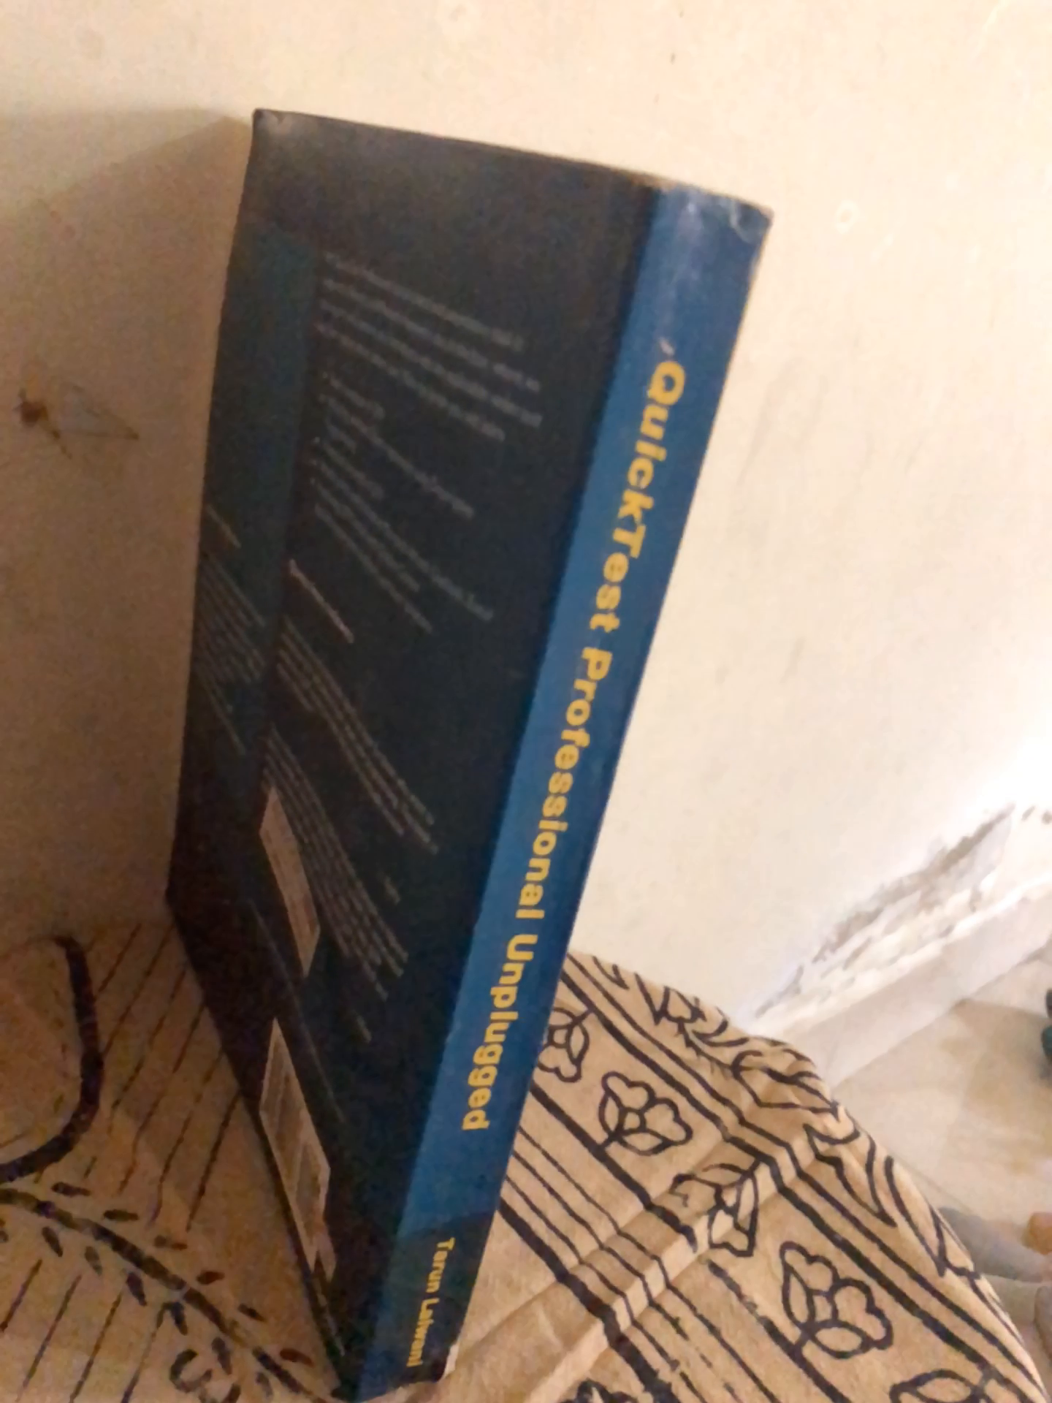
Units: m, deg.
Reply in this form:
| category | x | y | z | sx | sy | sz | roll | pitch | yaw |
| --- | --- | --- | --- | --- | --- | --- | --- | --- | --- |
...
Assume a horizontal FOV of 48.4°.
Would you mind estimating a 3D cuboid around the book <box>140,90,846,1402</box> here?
| category | x | y | z | sx | sy | sz | roll | pitch | yaw |
| --- | --- | --- | --- | --- | --- | --- | --- | --- | --- |
| book | -0.044 | -0.001 | 0.299 | 0.050 | 0.269 | 0.210 | -2 | 24 | -30 |
